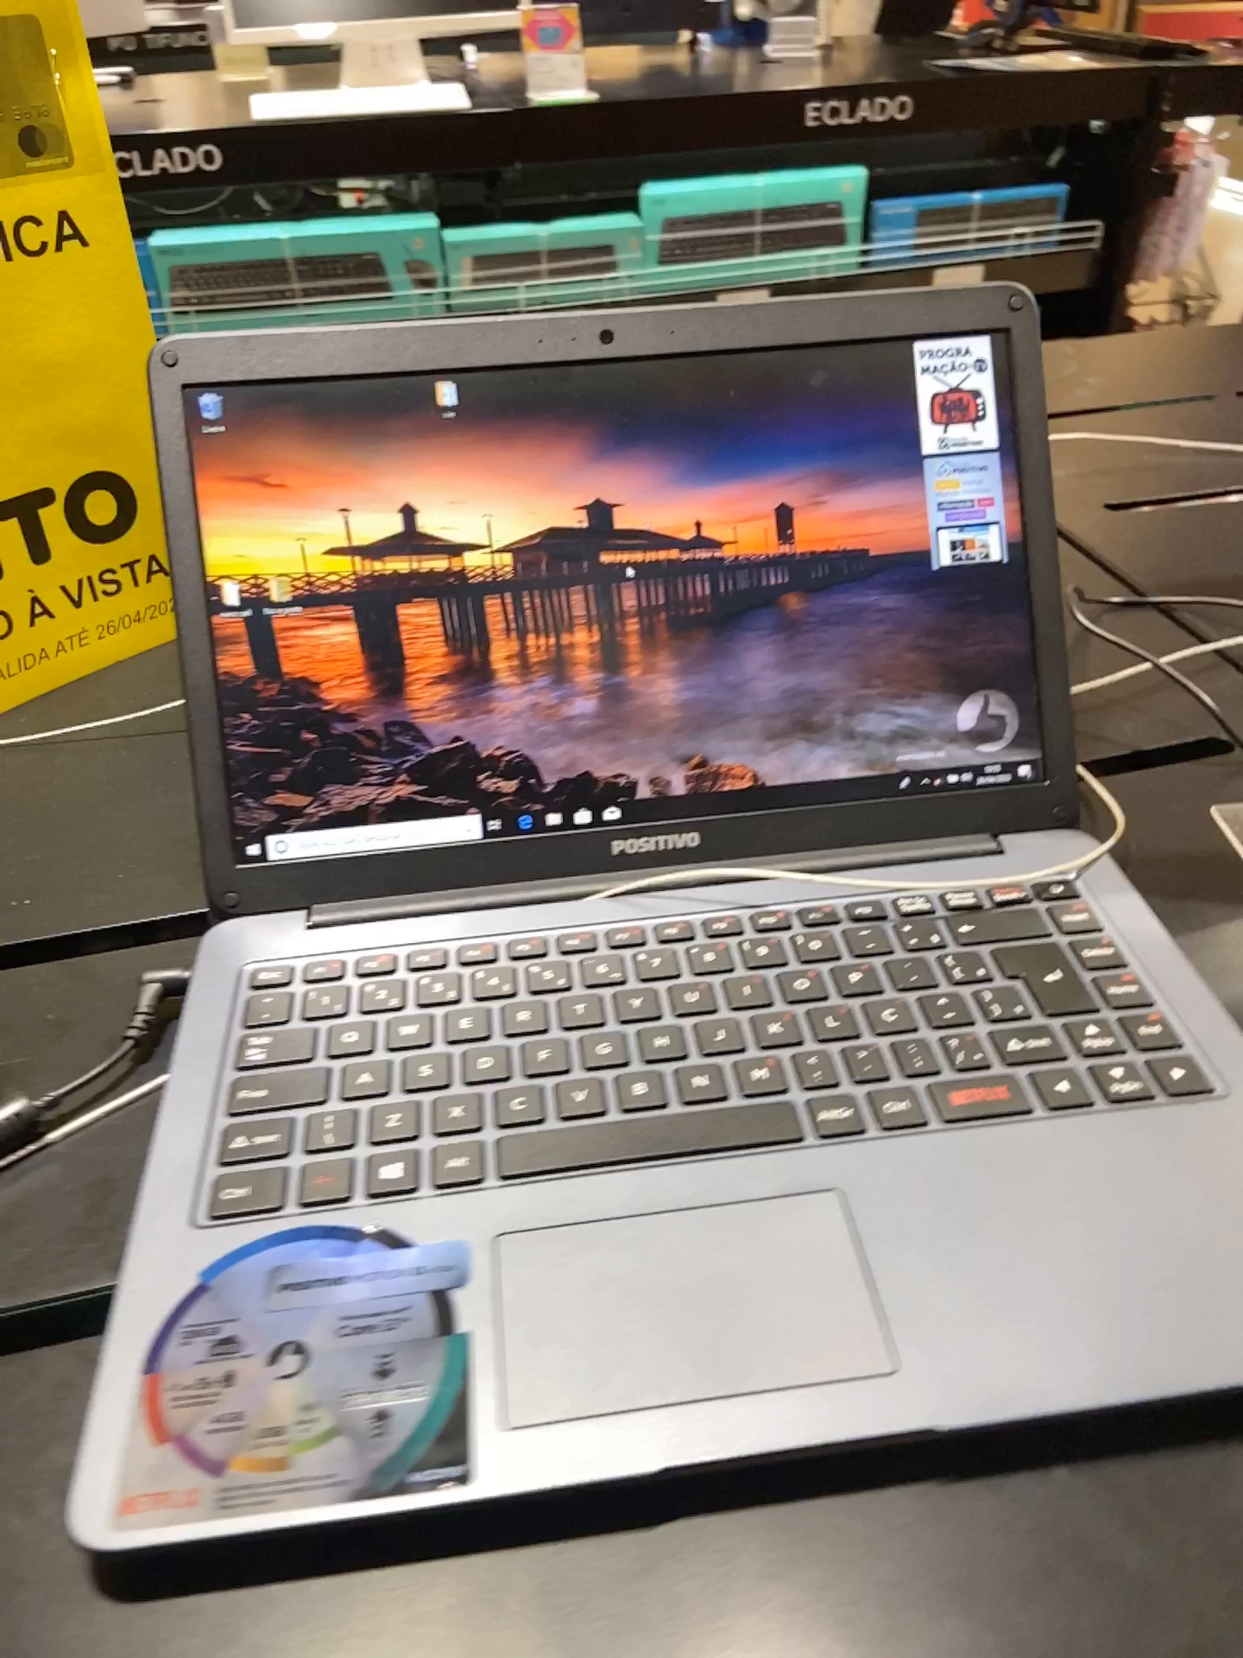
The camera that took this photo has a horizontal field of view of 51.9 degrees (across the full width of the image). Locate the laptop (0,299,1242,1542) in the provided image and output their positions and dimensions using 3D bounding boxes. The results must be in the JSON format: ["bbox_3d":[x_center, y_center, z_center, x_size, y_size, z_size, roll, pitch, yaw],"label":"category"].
[{"bbox_3d":[0.019,-0.023,0.393,0.332,0.171,0.343,-6,35,-5],"label":"laptop"}]
